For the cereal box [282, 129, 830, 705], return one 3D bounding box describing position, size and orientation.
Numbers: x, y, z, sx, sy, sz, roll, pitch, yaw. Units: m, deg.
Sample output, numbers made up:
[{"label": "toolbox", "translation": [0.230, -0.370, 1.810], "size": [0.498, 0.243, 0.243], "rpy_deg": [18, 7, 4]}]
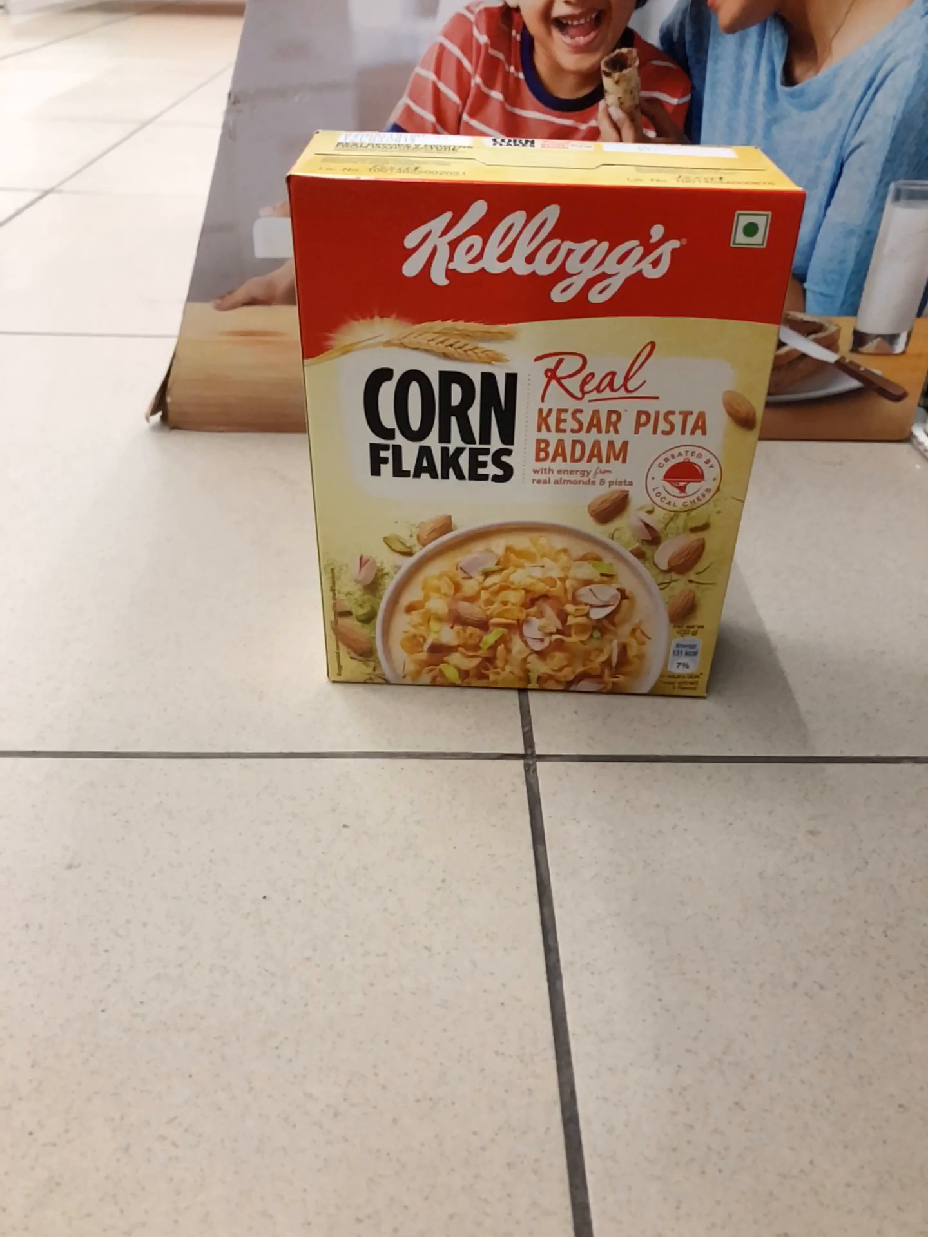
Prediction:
[{"label": "cereal box", "translation": [0.021, -0.059, 0.333], "size": [0.140, 0.169, 0.060], "rpy_deg": [1, 34, -2]}]
